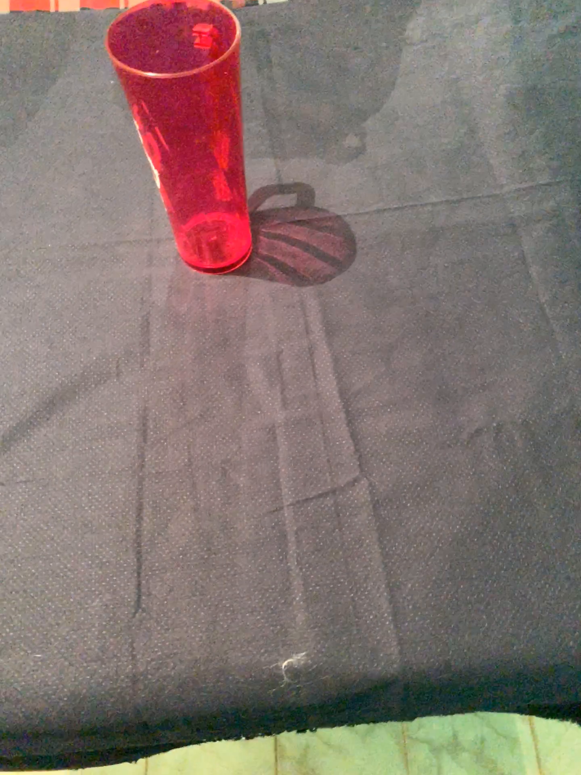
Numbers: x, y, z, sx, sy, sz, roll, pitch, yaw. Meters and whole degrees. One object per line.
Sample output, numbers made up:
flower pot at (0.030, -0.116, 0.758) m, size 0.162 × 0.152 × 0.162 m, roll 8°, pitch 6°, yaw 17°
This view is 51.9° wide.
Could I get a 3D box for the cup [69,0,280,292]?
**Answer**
cup at (-0.059, -0.160, 0.388) m, size 0.070 × 0.170 × 0.100 m, roll 15°, pitch 64°, yaw 9°
